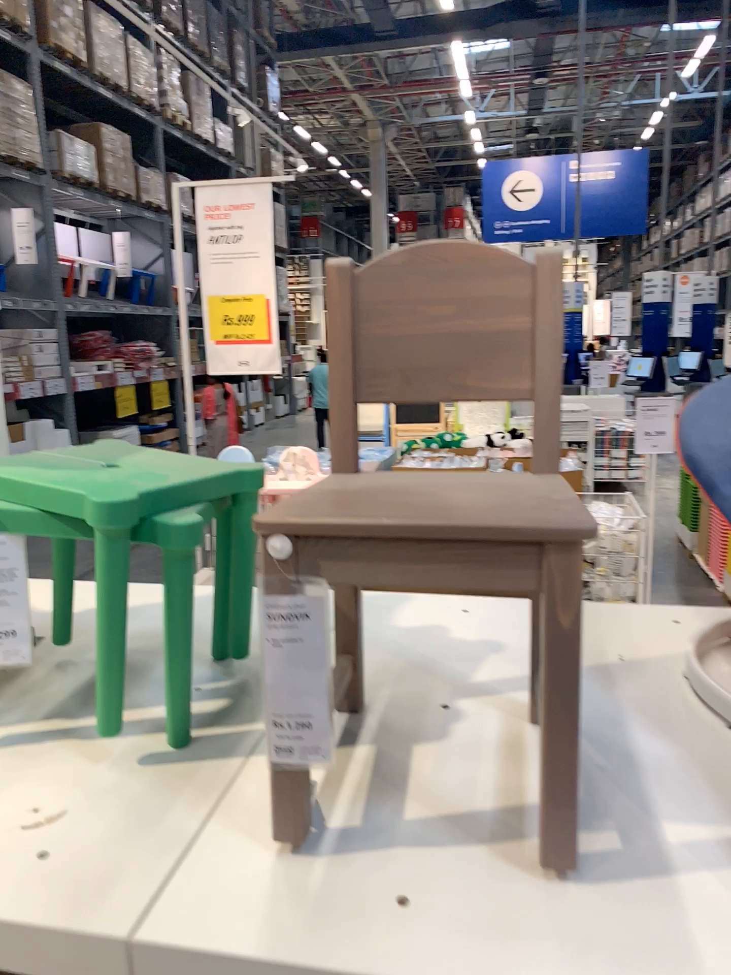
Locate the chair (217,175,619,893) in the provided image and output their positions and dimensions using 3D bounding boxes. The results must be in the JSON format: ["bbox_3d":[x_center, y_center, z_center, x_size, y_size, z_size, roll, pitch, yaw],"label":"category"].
[{"bbox_3d":[0.066,0.023,0.702,0.270,0.519,0.321,0,11,11],"label":"chair"}]
